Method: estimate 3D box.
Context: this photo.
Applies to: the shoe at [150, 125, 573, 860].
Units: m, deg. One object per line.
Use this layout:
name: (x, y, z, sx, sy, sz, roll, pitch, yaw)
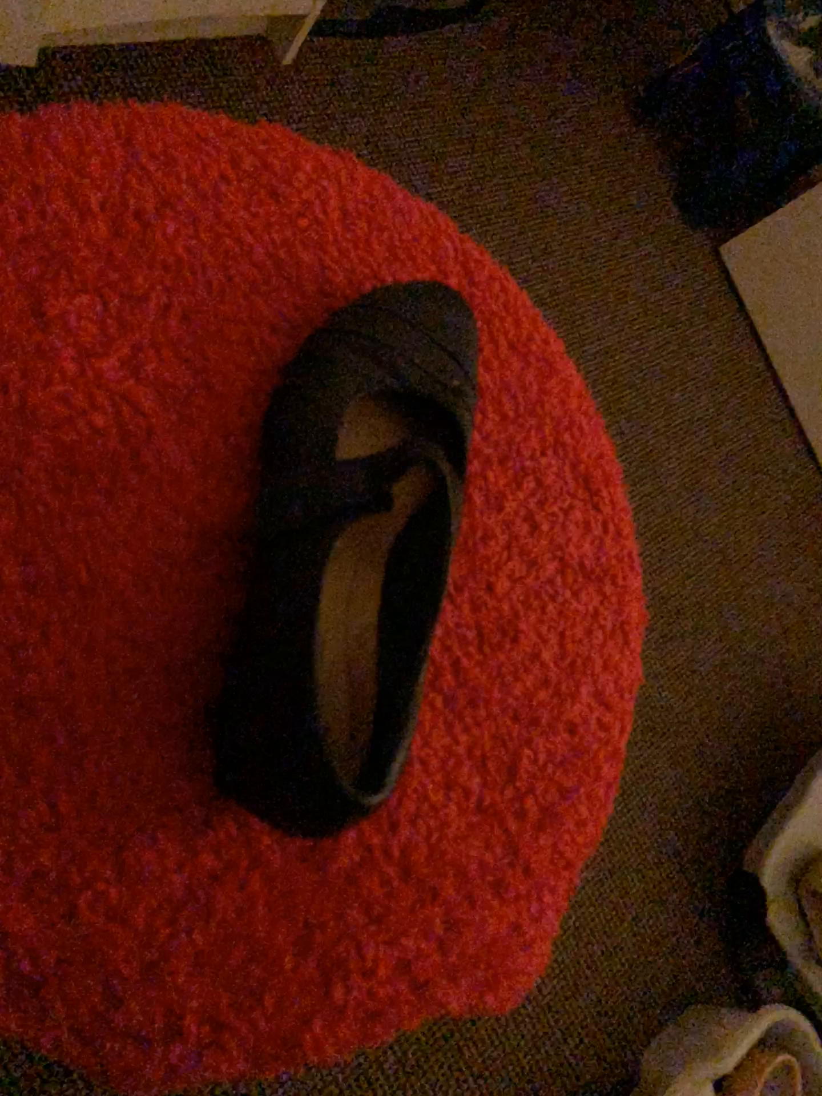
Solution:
shoe: (-0.011, -0.026, 0.347, 0.093, 0.080, 0.276, 23, 65, -25)
